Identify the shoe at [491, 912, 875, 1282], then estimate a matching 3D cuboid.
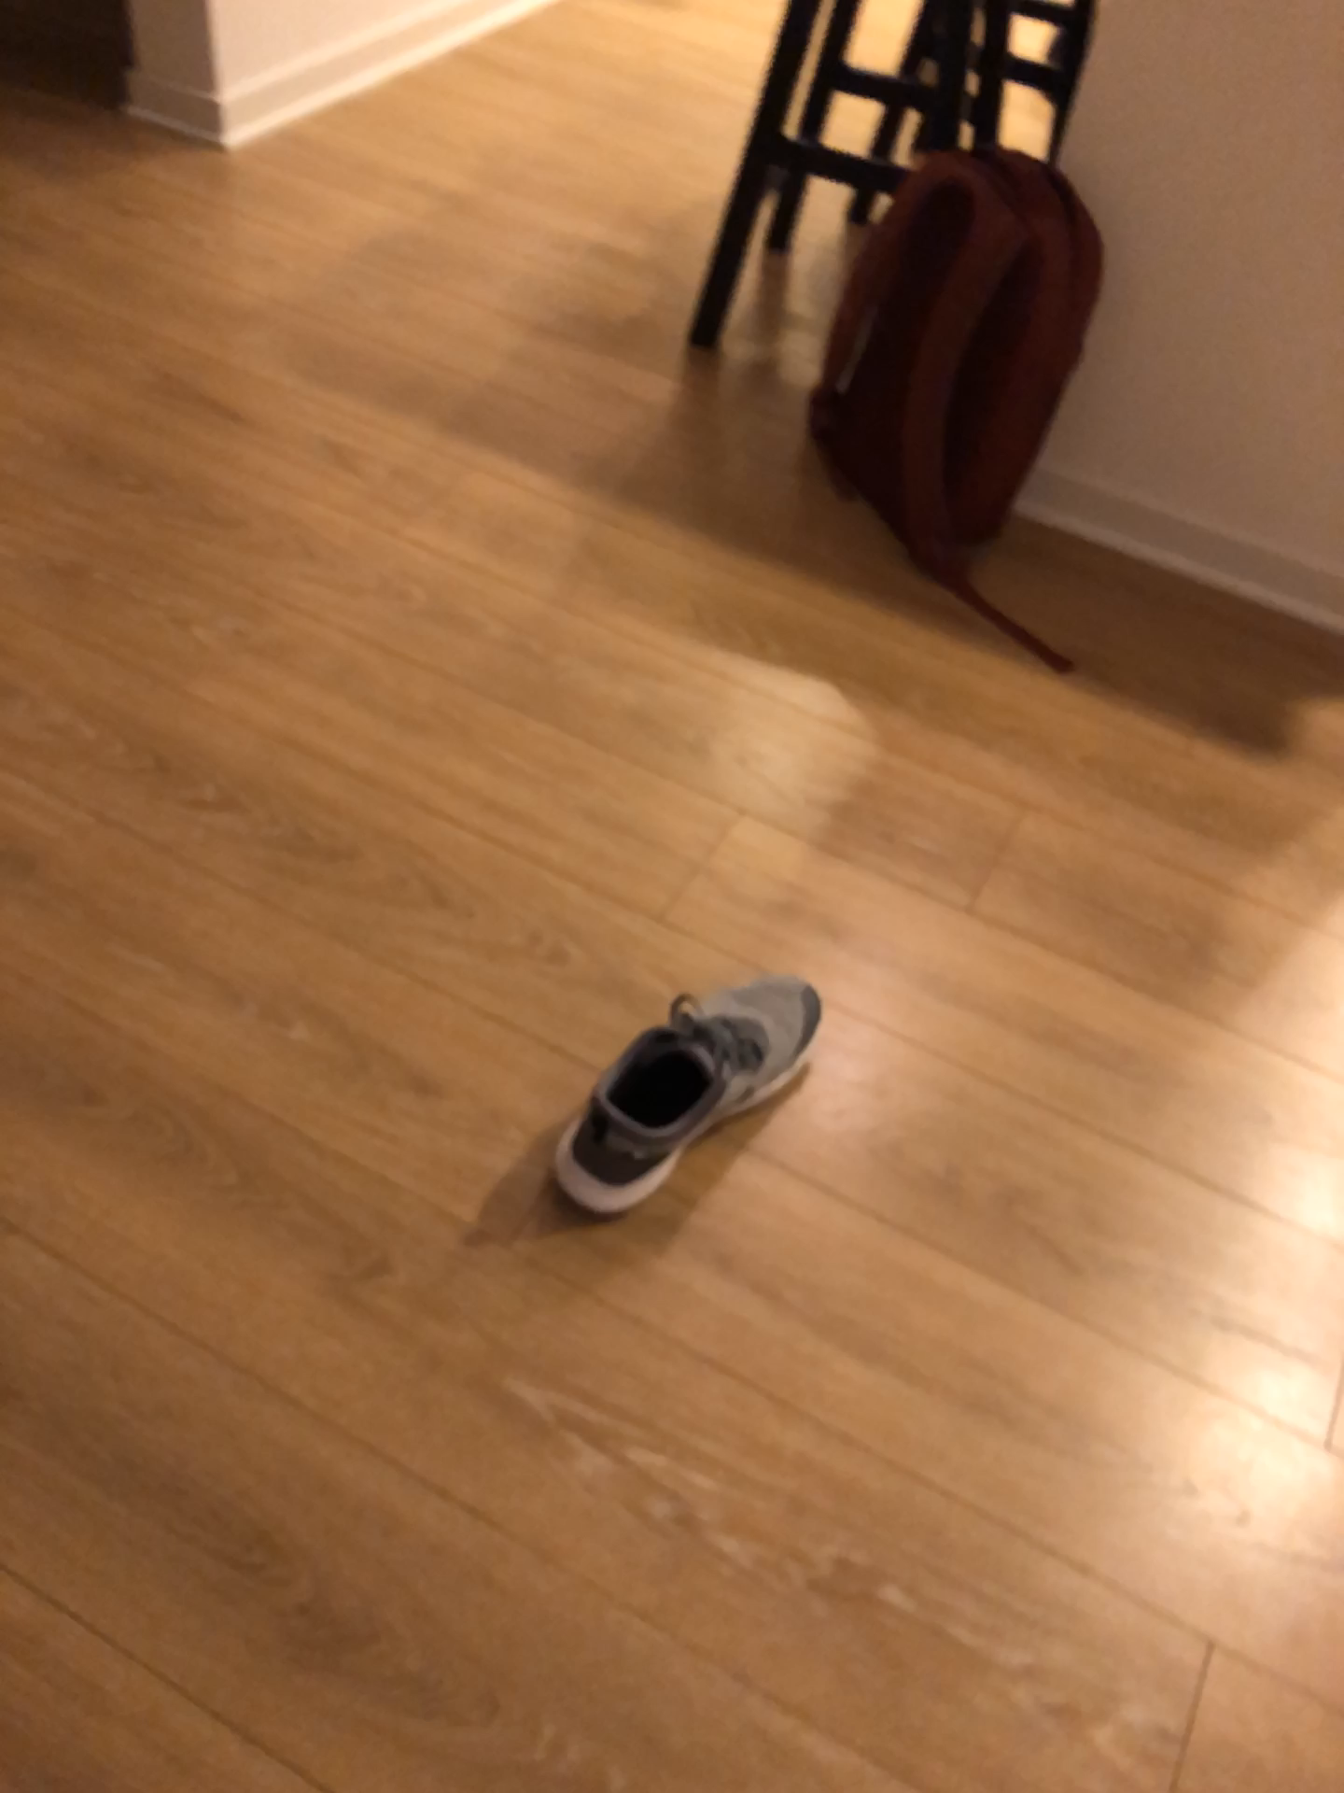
[{"bbox_3d":[0.014,0.158,1.267,0.140,0.080,0.321,36,52,23],"label":"shoe"}]
